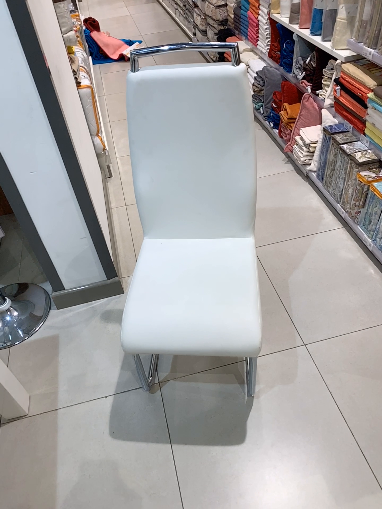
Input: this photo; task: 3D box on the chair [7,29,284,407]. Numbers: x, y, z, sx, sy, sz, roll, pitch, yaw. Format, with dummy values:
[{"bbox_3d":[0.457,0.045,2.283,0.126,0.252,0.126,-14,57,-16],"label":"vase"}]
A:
[{"bbox_3d":[-0.019,-0.029,1.194,0.480,1.026,0.522,0,43,7],"label":"chair"}]
